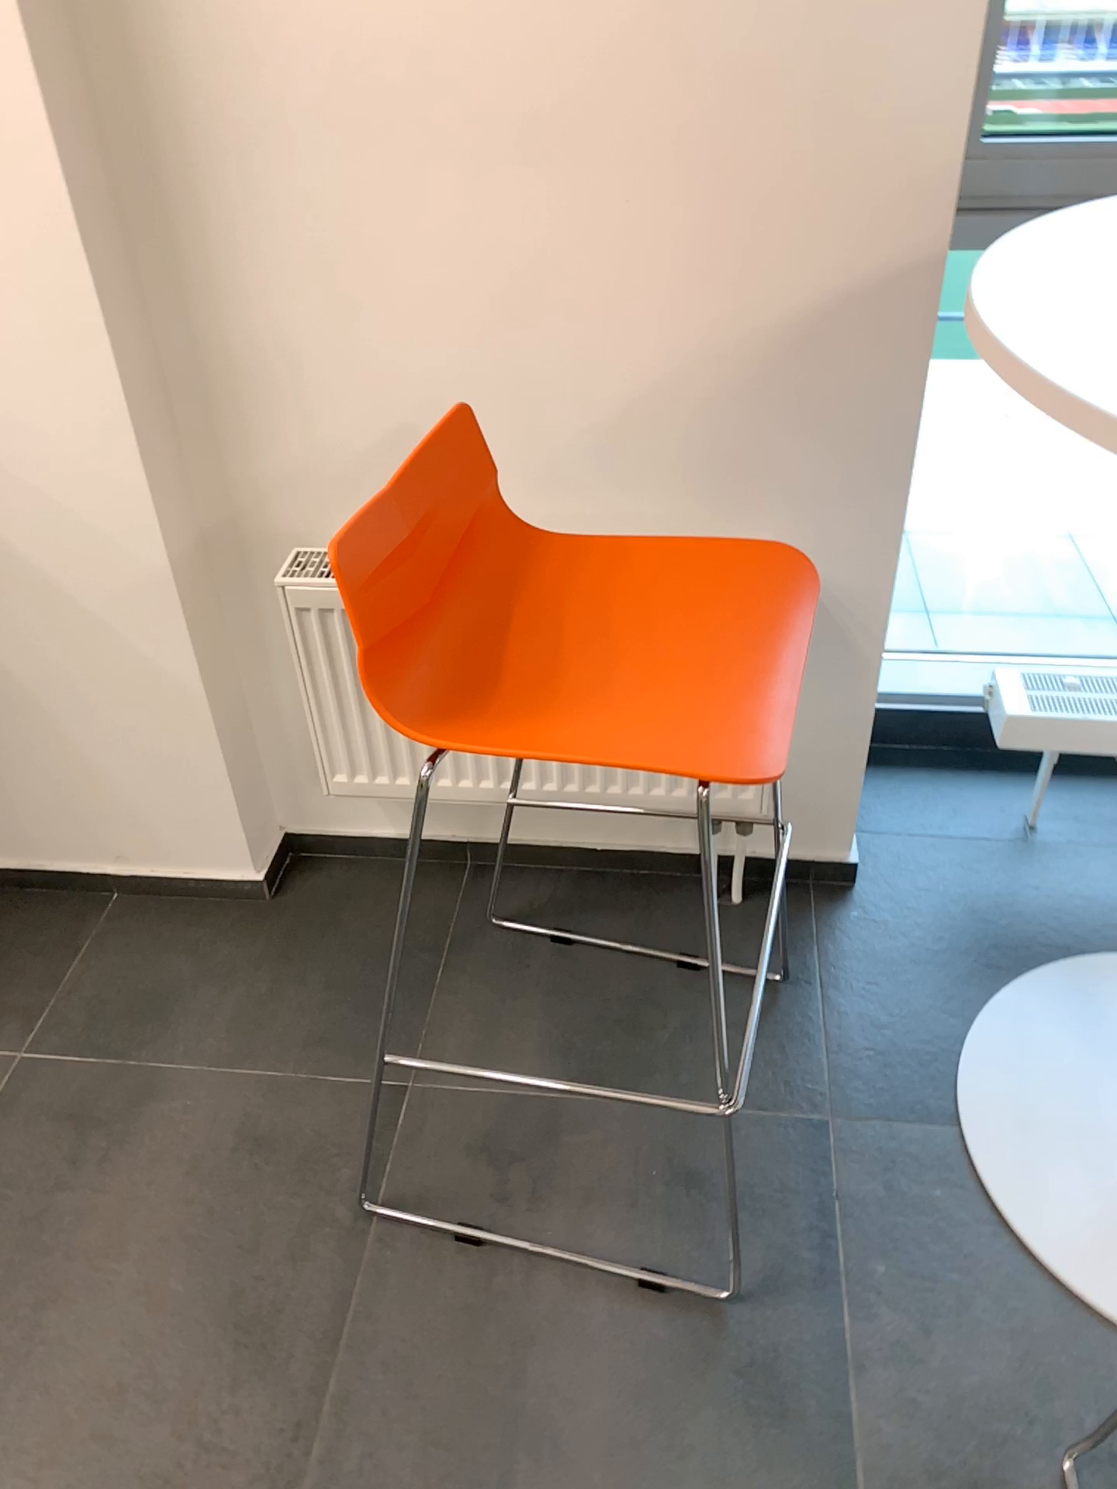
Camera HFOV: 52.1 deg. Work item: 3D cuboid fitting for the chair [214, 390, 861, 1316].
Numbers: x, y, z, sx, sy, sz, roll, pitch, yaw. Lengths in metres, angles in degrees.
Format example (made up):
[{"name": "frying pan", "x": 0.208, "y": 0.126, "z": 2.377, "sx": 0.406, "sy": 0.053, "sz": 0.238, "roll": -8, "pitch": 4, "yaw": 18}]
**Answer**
[{"name": "chair", "x": 0.038, "y": 0.131, "z": 1.393, "sx": 0.500, "sy": 0.905, "sz": 0.573, "roll": 8, "pitch": 38, "yaw": 13}]
